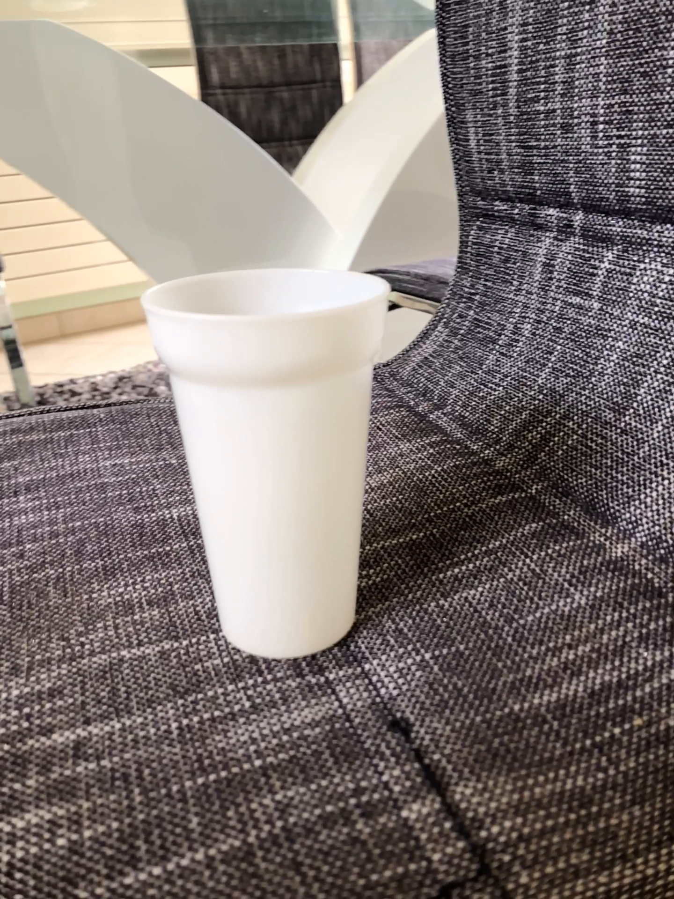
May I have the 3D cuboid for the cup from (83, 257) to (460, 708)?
[{"bbox_3d":[-0.015,0.002,0.244,0.080,0.109,0.080,-3,24,2],"label":"cup"}]
